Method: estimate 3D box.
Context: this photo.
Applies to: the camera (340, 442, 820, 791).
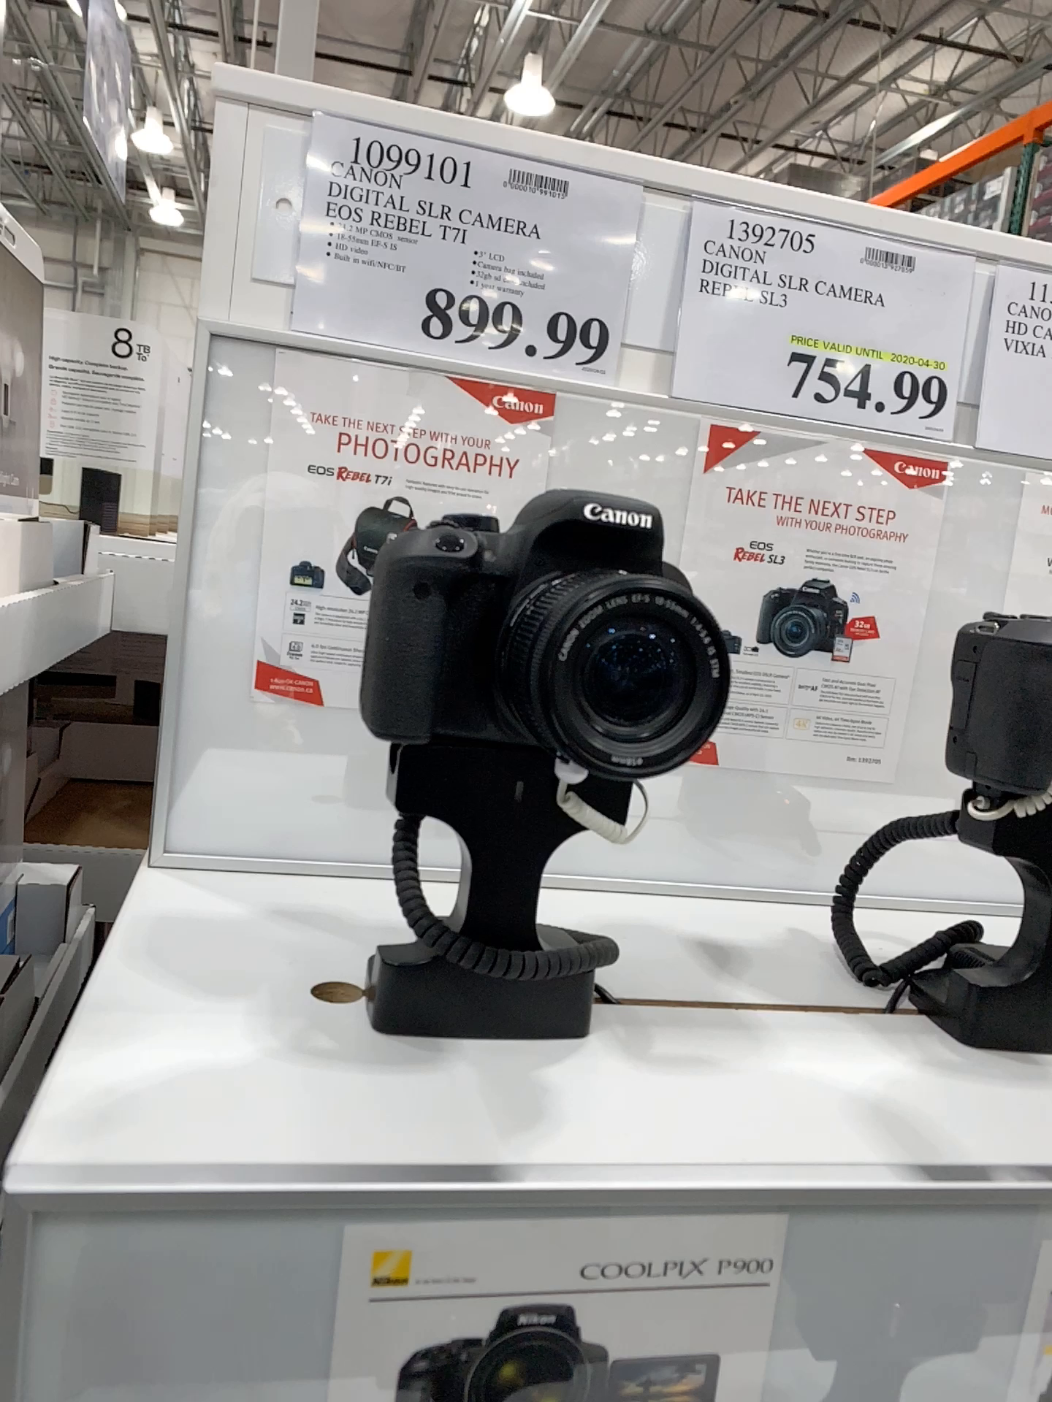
[{"bbox_3d":[0.009,-0.032,0.396,0.132,0.096,0.129,5,7,-16],"label":"camera"}]
